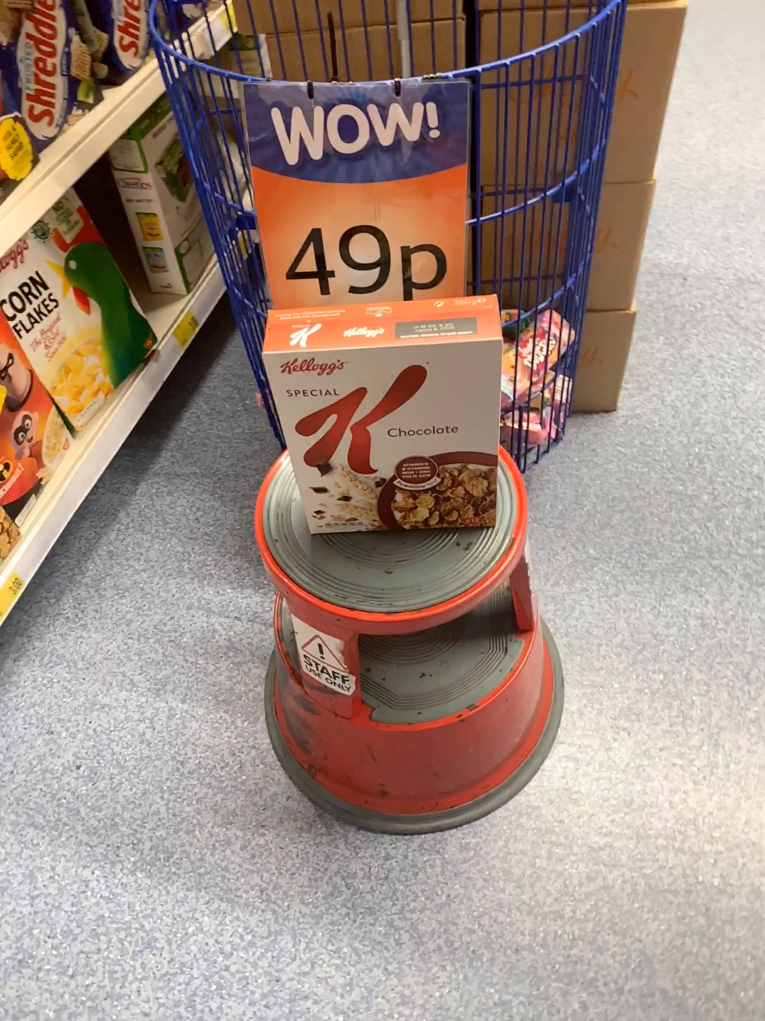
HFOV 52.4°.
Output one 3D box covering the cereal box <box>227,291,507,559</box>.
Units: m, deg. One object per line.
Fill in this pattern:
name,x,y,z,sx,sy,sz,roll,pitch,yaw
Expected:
cereal box,0.000,-0.061,0.702,0.210,0.268,0.061,-1,50,5
